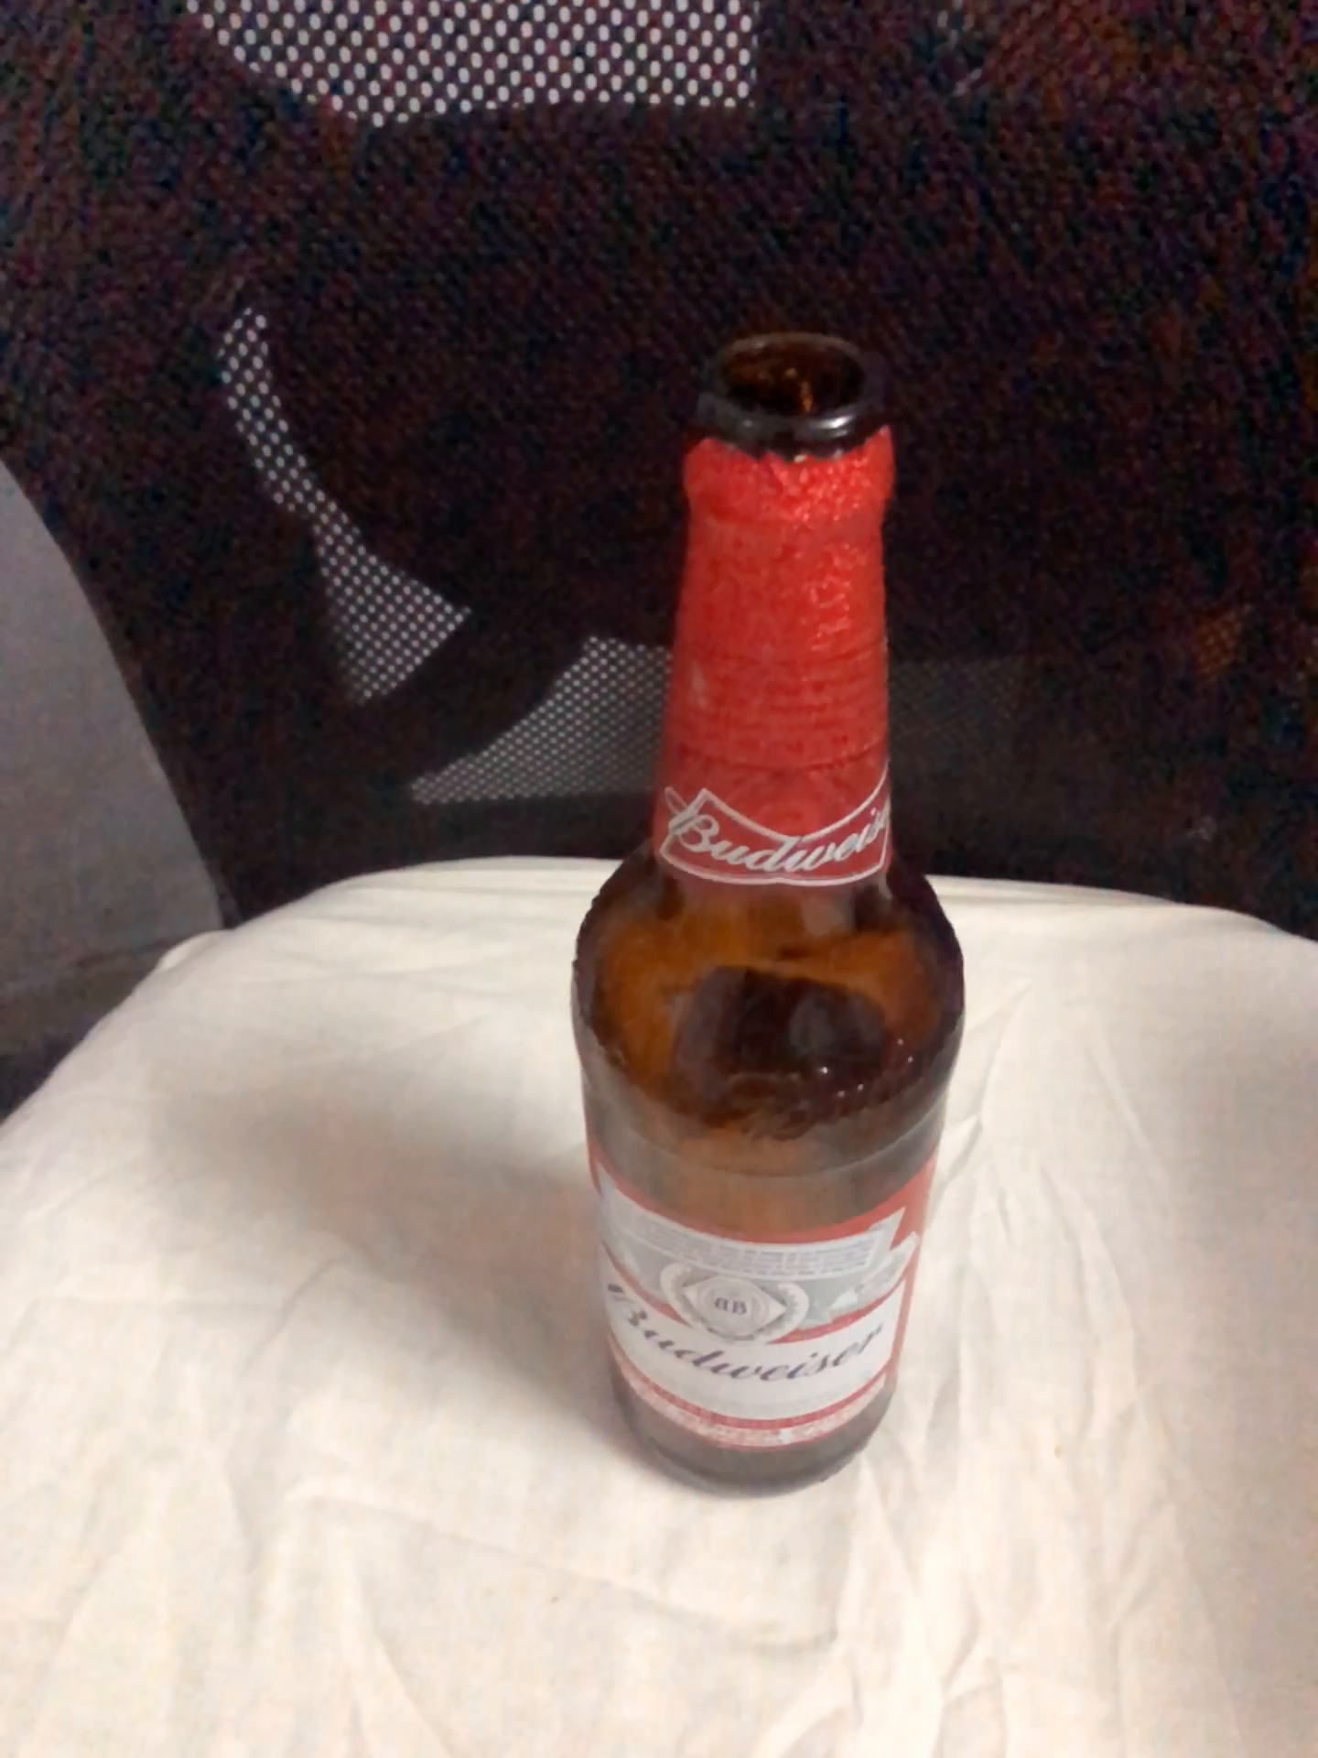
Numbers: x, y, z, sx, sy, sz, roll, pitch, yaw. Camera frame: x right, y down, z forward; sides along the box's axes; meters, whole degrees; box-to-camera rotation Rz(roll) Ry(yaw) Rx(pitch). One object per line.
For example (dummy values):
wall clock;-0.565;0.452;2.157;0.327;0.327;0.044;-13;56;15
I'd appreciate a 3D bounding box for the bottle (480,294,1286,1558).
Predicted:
bottle;0.024;0.041;0.269;0.080;0.269;0.070;3;48;2
